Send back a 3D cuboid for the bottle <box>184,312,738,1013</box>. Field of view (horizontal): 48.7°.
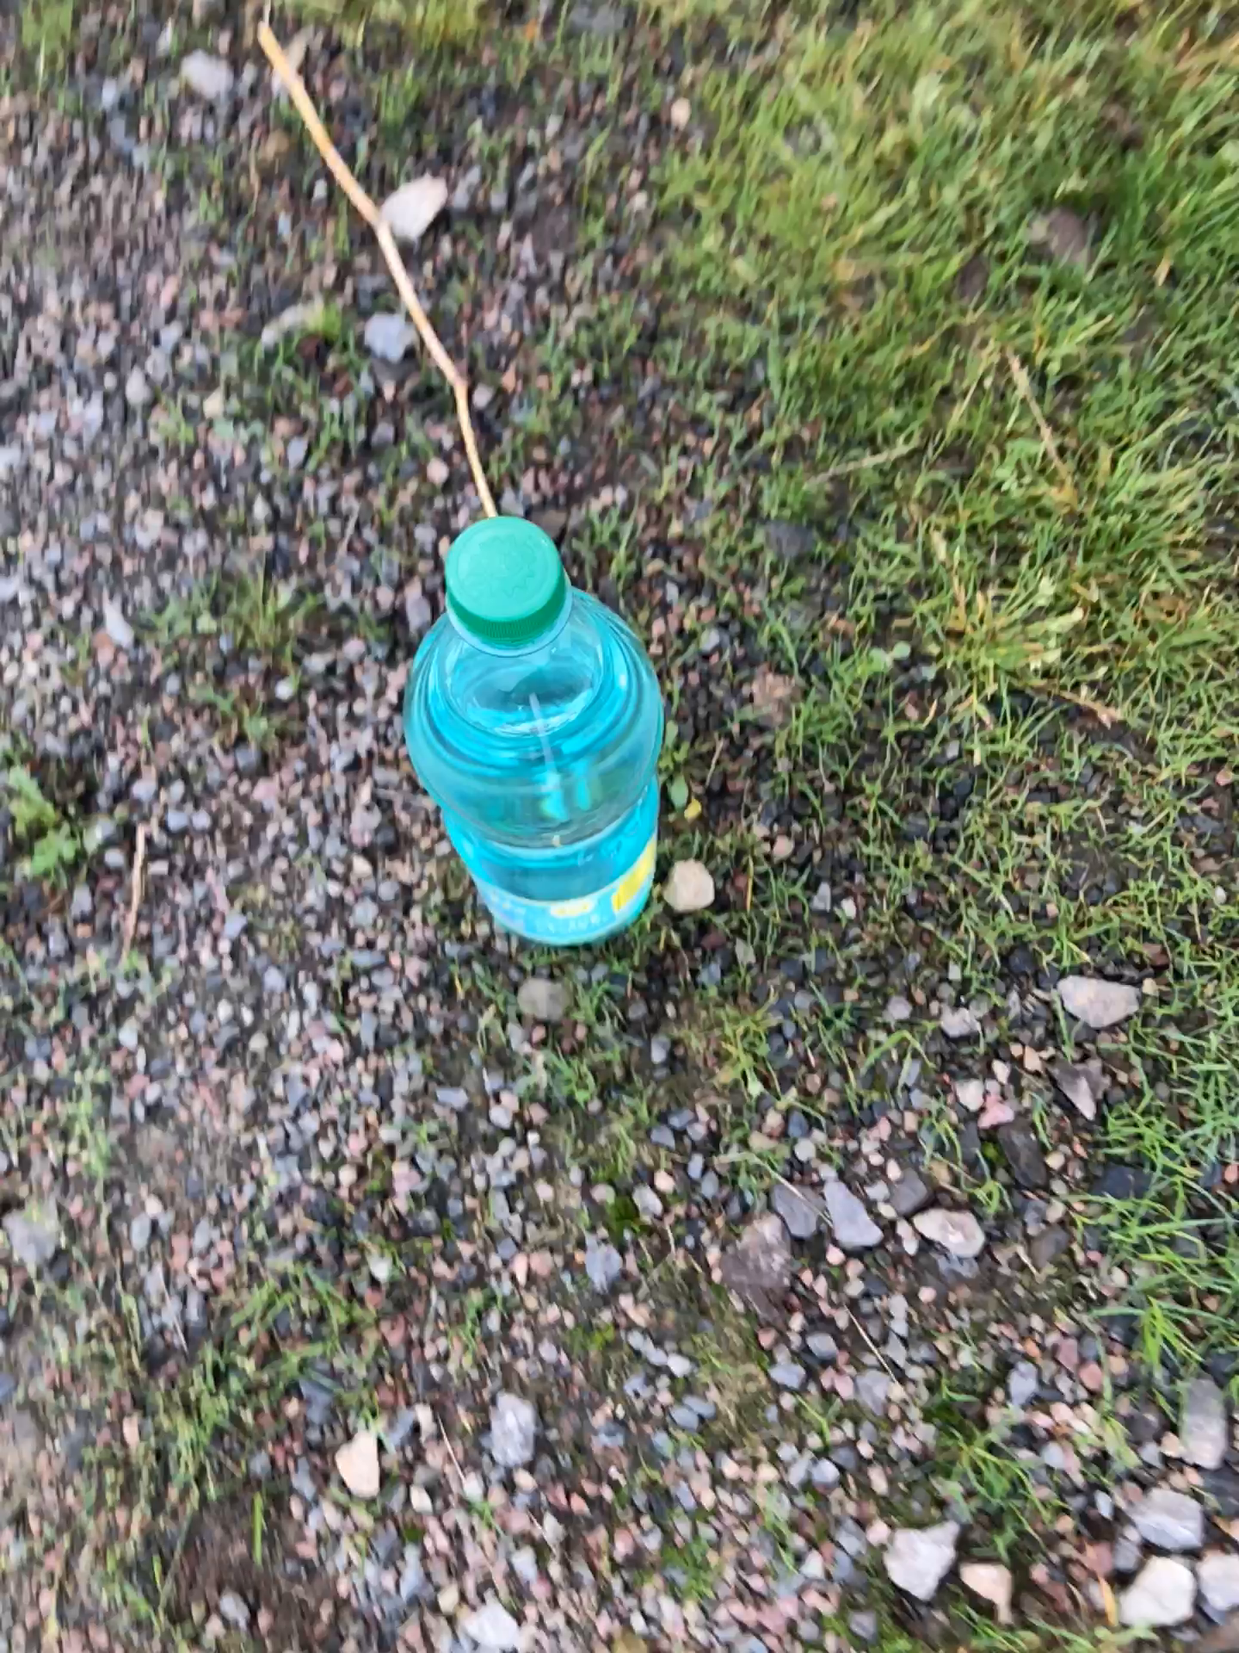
[{"bbox_3d":[-0.033,-0.025,0.474,0.090,0.299,0.100,40,79,12],"label":"bottle"}]
